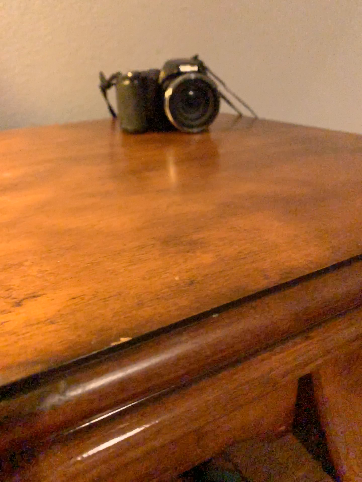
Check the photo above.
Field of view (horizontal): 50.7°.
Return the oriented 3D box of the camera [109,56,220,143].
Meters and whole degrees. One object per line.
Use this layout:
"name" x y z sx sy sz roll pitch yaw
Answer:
"camera" -0.024 -0.177 0.468 0.110 0.081 0.123 -8 24 -10
